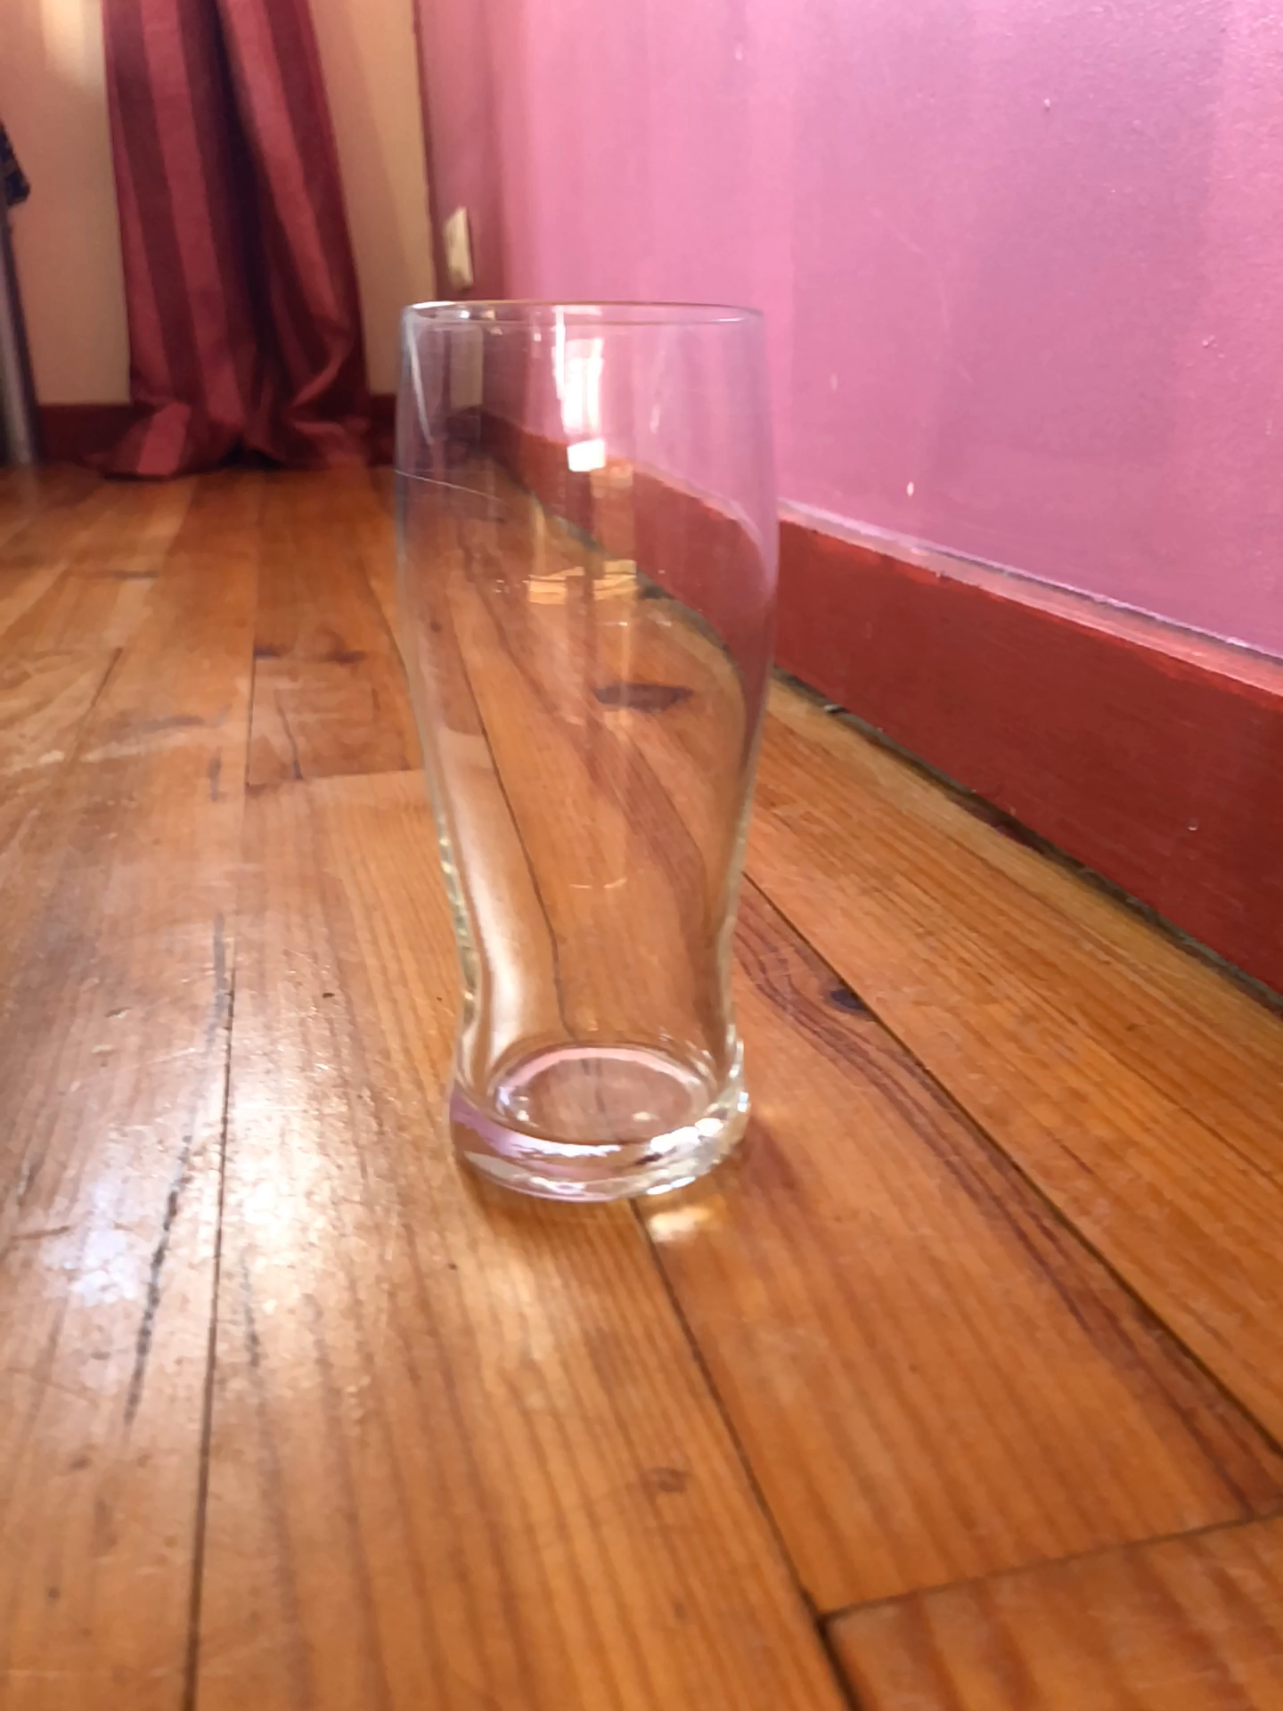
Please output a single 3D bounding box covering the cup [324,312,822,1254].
[{"bbox_3d":[-0.012,-0.017,0.250,0.061,0.143,0.064,-2,17,0],"label":"cup"}]
